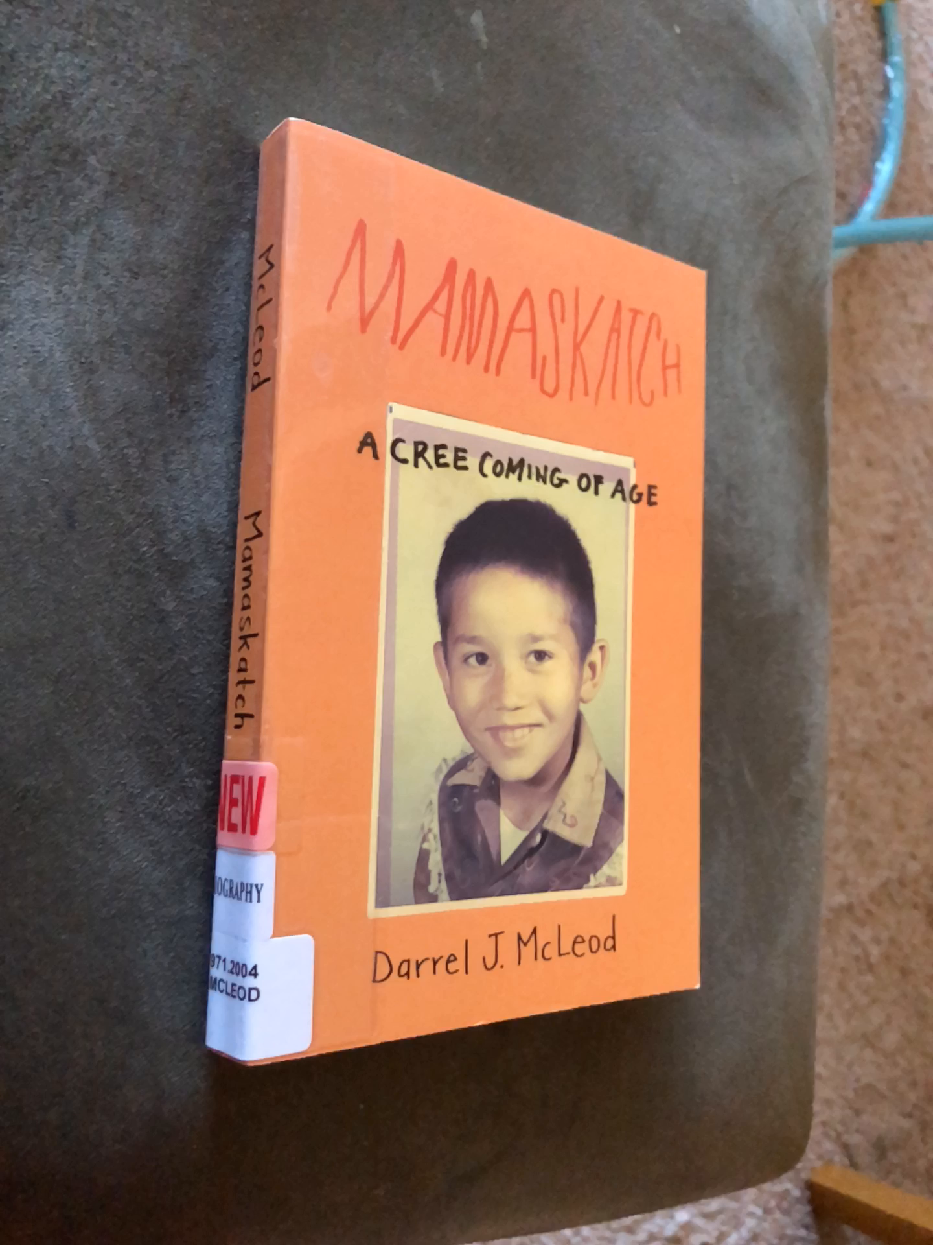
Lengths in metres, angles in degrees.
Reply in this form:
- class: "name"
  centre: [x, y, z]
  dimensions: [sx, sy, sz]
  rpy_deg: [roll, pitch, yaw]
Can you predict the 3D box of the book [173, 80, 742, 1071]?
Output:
- class: "book"
  centre: [0.007, -0.007, 0.286]
  dimensions: [0.151, 0.040, 0.218]
  rpy_deg: [5, 85, -33]
